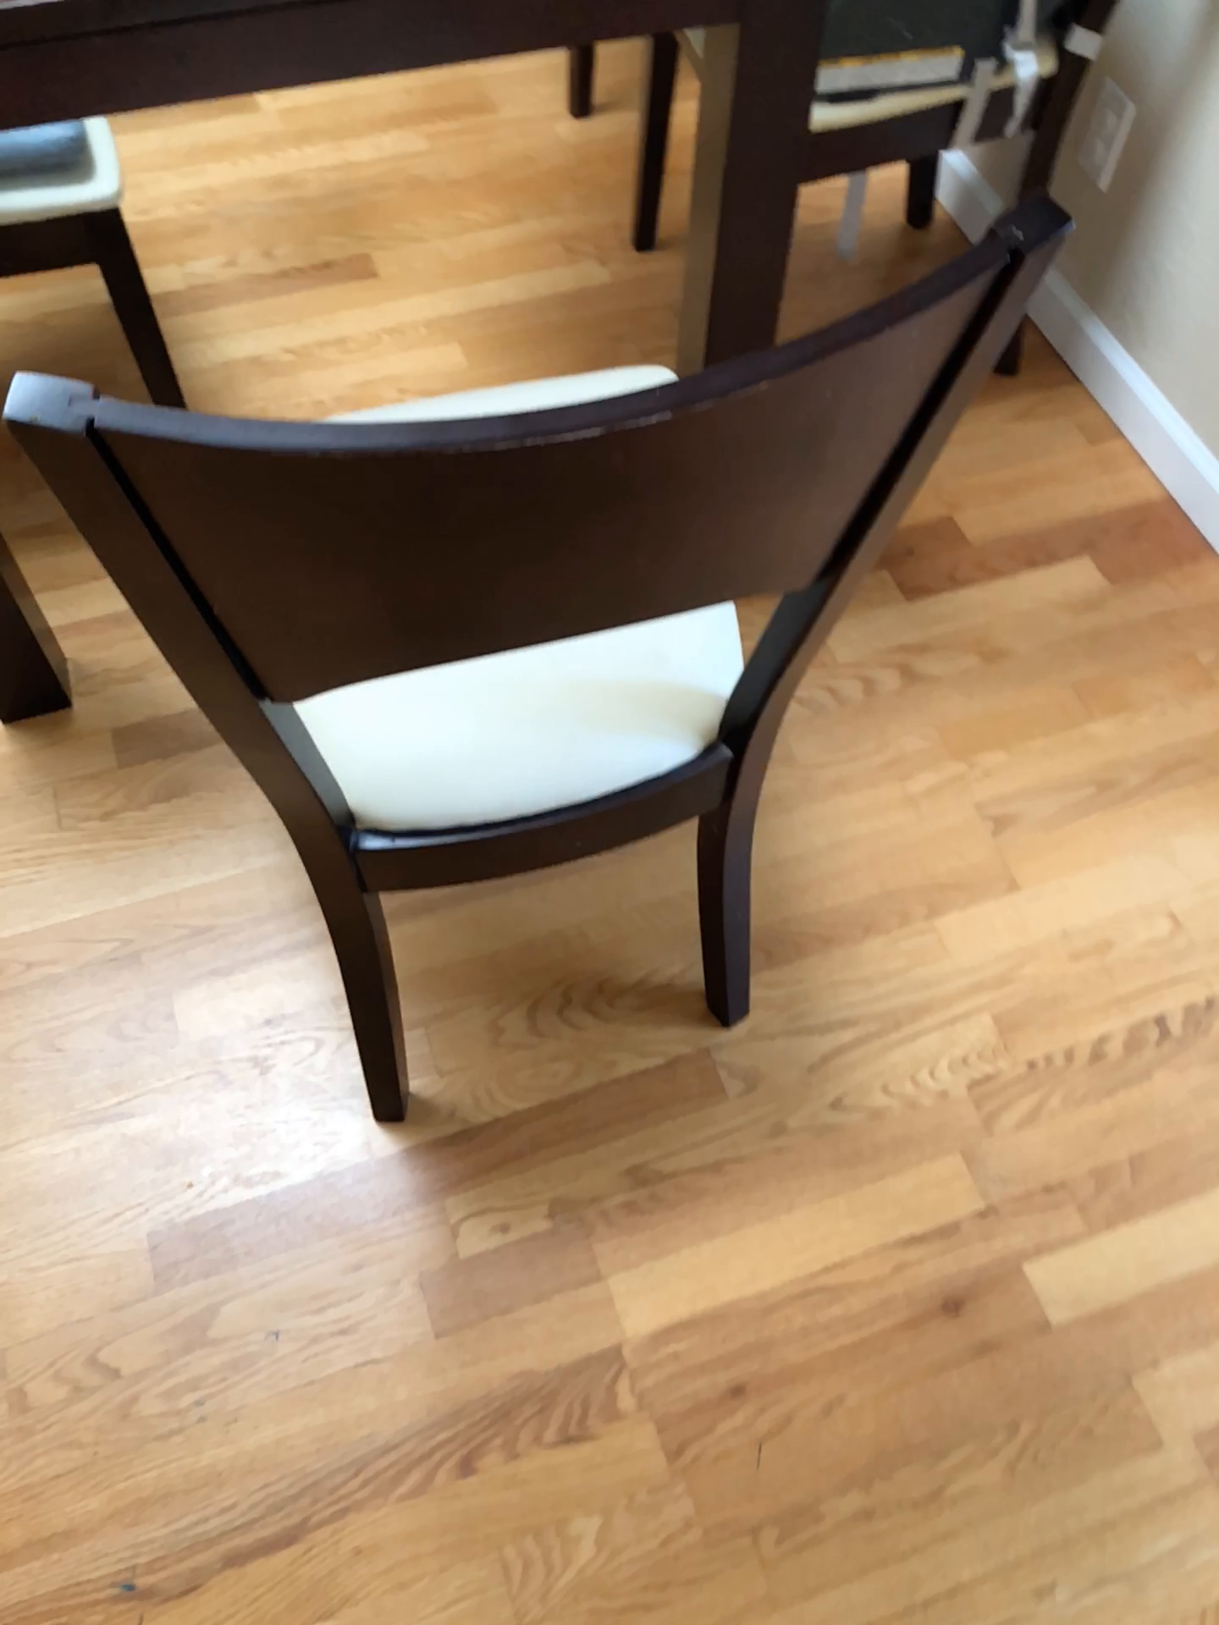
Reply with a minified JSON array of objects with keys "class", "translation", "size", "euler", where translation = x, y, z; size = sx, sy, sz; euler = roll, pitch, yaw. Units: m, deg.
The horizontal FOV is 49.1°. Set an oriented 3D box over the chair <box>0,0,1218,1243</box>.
[{"class":"chair","translation":[-0.036,-0.143,1.104],"size":[0.560,0.996,0.592],"euler":[-12,59,-10]}]
